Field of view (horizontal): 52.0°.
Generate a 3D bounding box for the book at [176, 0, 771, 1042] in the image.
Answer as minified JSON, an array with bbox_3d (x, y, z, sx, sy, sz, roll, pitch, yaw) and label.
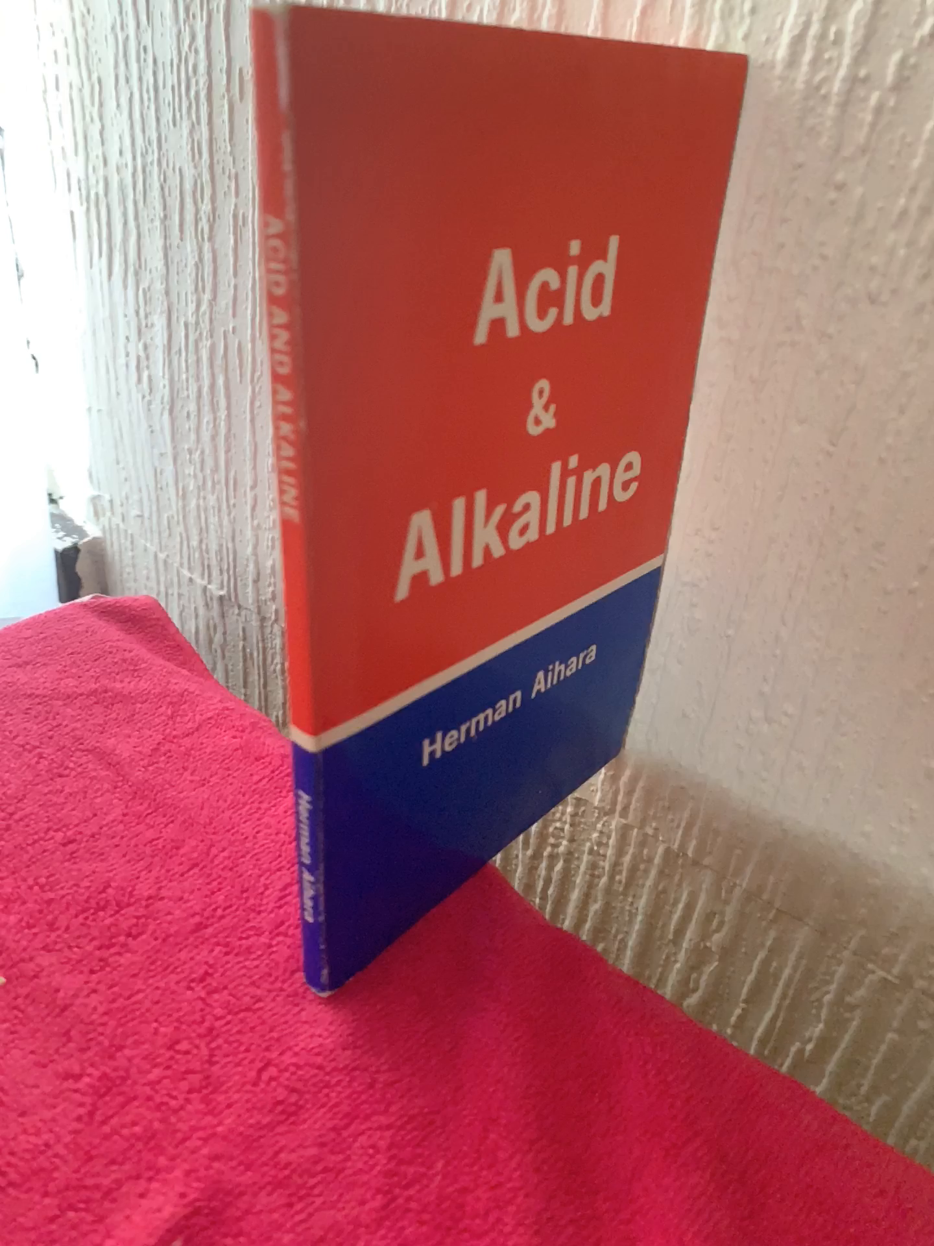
[{"bbox_3d":[0.011,-0.023,0.231,0.020,0.208,0.151,24,35,34],"label":"book"}]
